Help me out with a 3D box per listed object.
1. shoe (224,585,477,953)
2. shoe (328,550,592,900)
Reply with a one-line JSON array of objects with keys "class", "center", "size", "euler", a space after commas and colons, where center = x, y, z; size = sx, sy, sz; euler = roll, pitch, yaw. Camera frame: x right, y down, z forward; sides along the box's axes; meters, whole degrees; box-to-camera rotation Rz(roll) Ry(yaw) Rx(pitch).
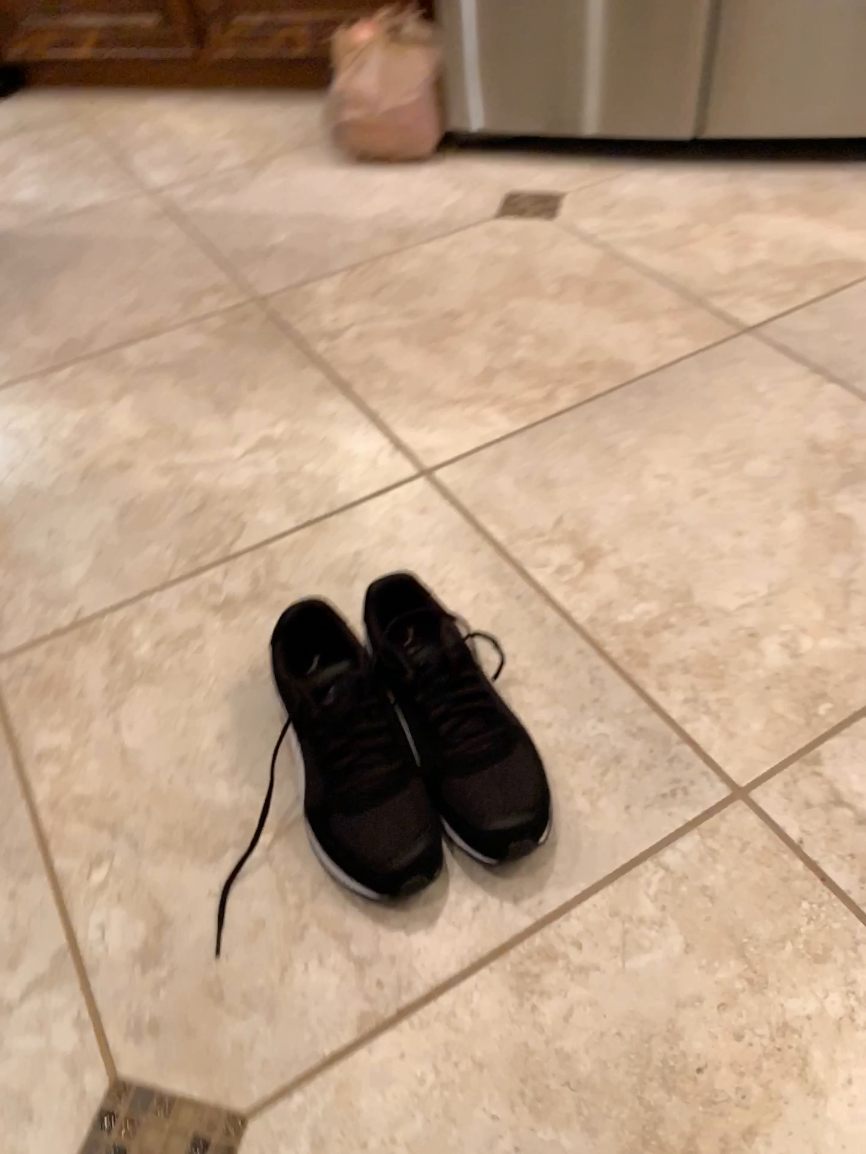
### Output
[{"class": "shoe", "center": [-0.074, 0.144, 0.734], "size": [0.108, 0.095, 0.270], "euler": [-21, 47, -13]}, {"class": "shoe", "center": [0.015, 0.112, 0.755], "size": [0.108, 0.095, 0.270], "euler": [-22, 48, -12]}]
